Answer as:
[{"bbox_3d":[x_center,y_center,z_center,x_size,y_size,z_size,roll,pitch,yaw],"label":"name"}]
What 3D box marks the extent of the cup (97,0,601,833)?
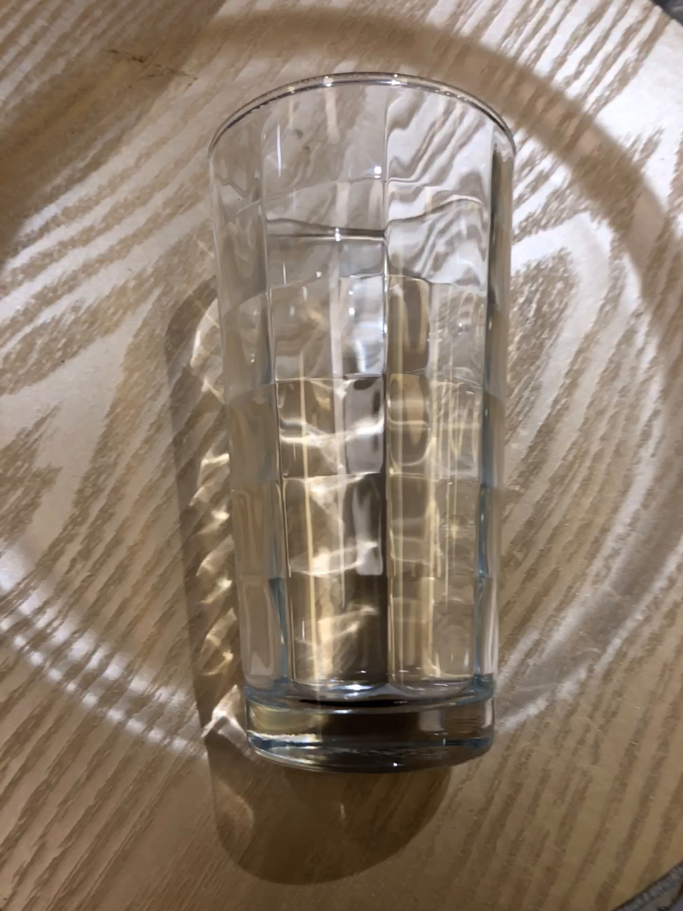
[{"bbox_3d":[-0.002,-0.014,0.196,0.090,0.080,0.180,0,77,-3],"label":"cup"}]
